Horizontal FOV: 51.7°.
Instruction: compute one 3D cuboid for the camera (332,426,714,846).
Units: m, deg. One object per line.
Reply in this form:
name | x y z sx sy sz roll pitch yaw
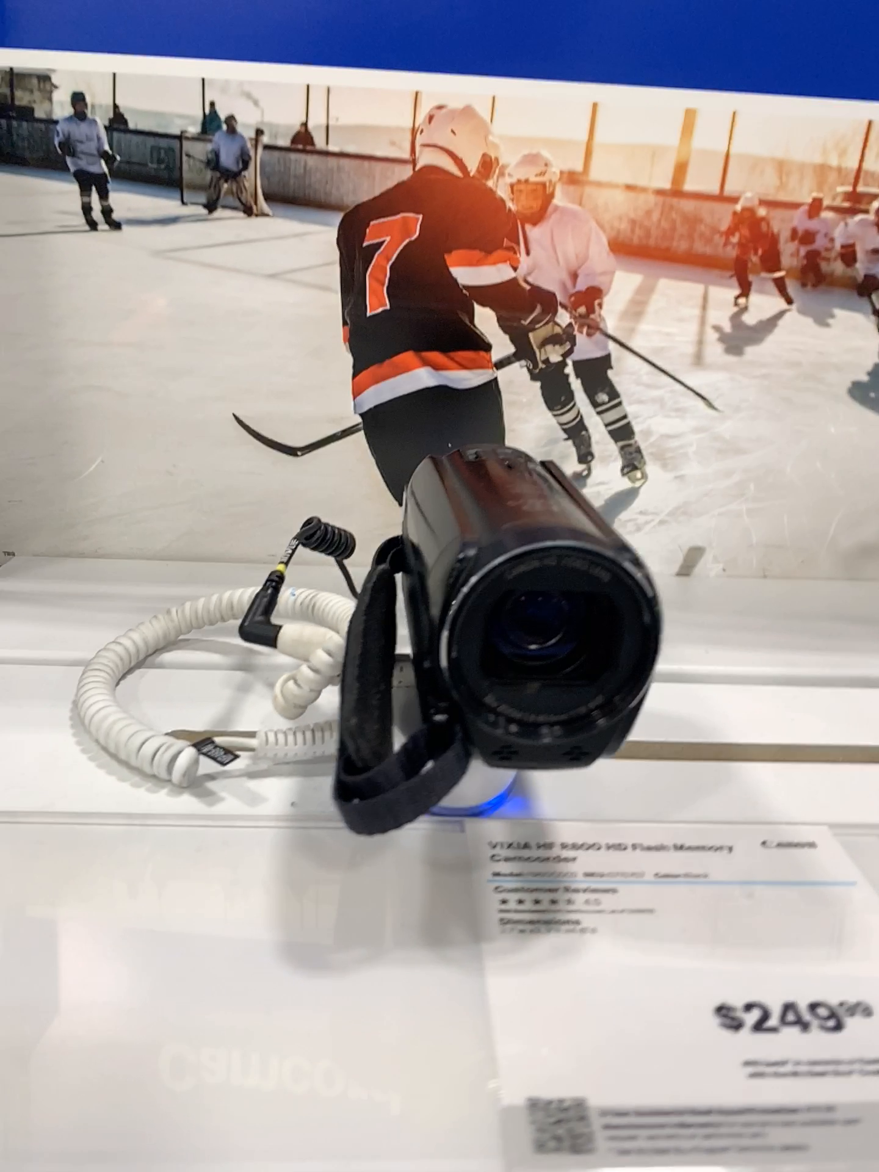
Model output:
camera | 0.011 0.002 0.249 0.072 0.062 0.140 2 20 -5
